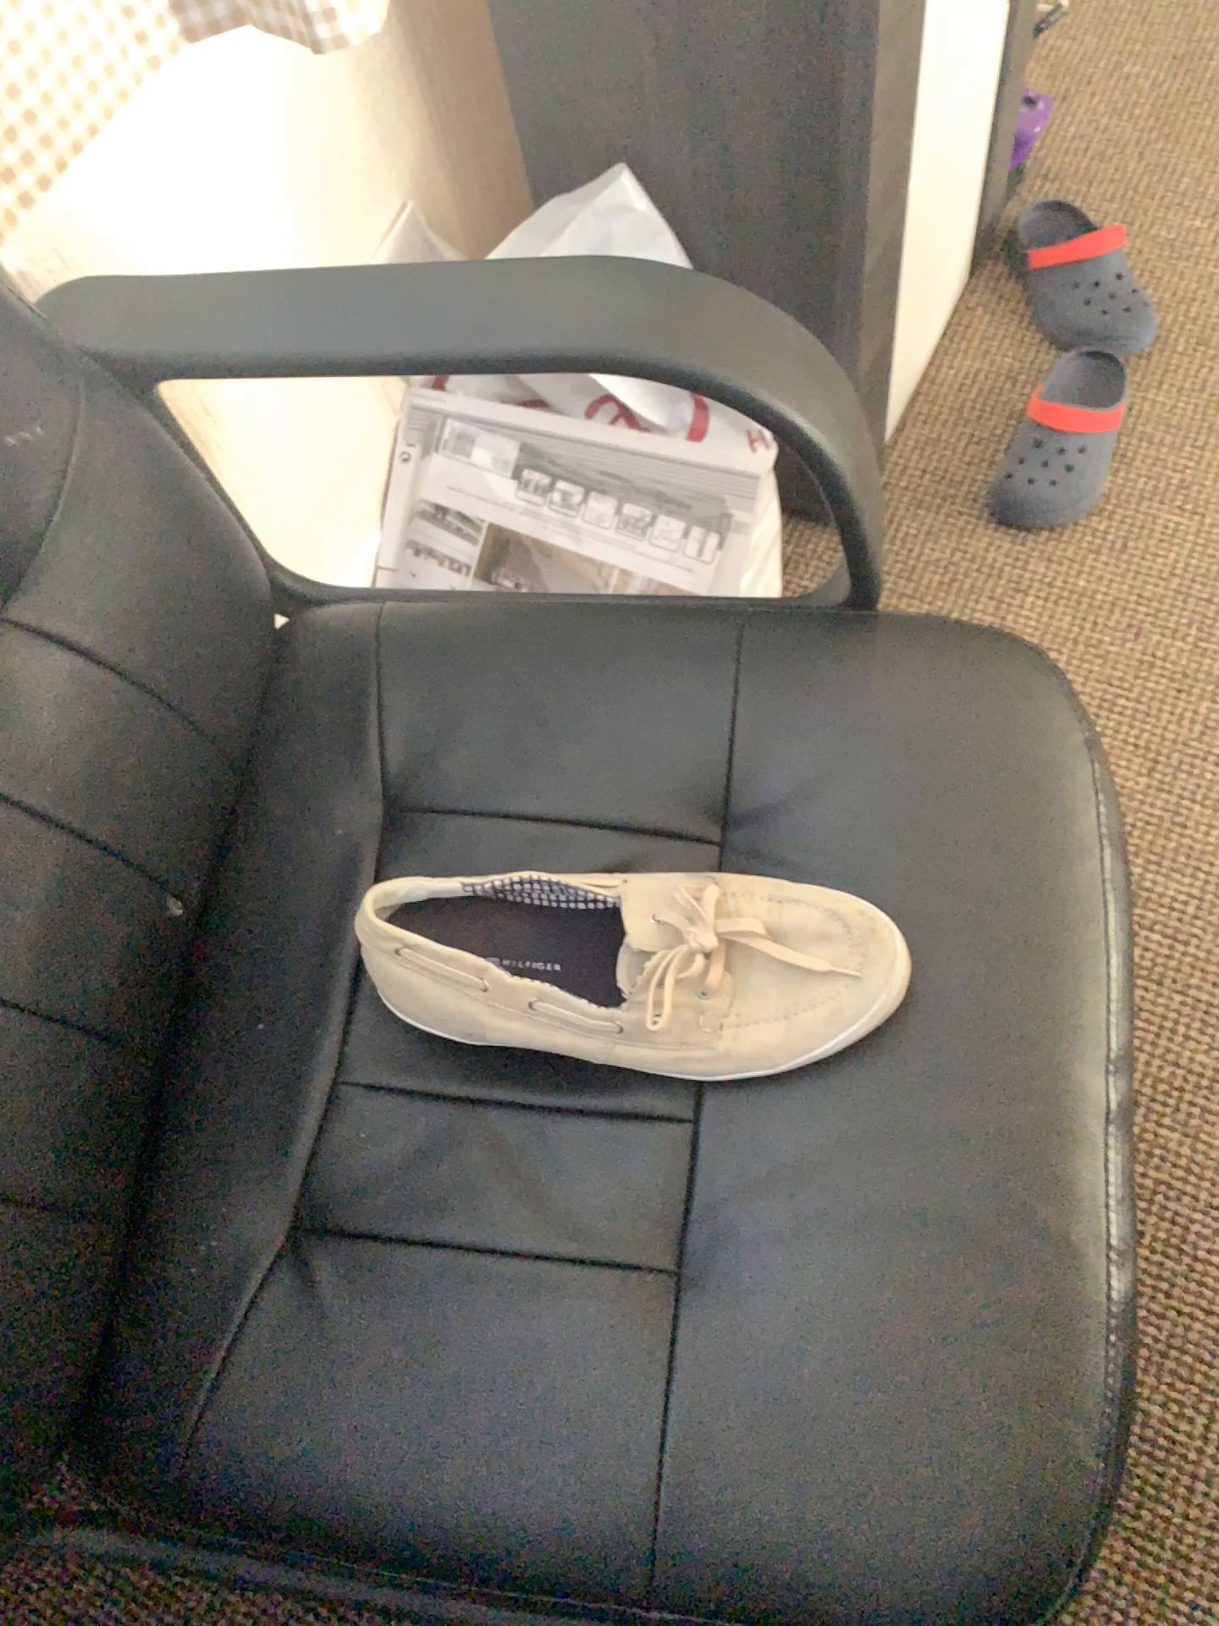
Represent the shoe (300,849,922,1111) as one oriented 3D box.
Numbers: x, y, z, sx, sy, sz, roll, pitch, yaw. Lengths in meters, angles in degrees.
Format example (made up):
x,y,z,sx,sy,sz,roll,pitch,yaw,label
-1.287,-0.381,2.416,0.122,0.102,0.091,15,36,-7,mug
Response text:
x,y,z,sx,sy,sz,roll,pitch,yaw,label
0.003,0.078,0.588,0.270,0.070,0.100,0,66,9,shoe
